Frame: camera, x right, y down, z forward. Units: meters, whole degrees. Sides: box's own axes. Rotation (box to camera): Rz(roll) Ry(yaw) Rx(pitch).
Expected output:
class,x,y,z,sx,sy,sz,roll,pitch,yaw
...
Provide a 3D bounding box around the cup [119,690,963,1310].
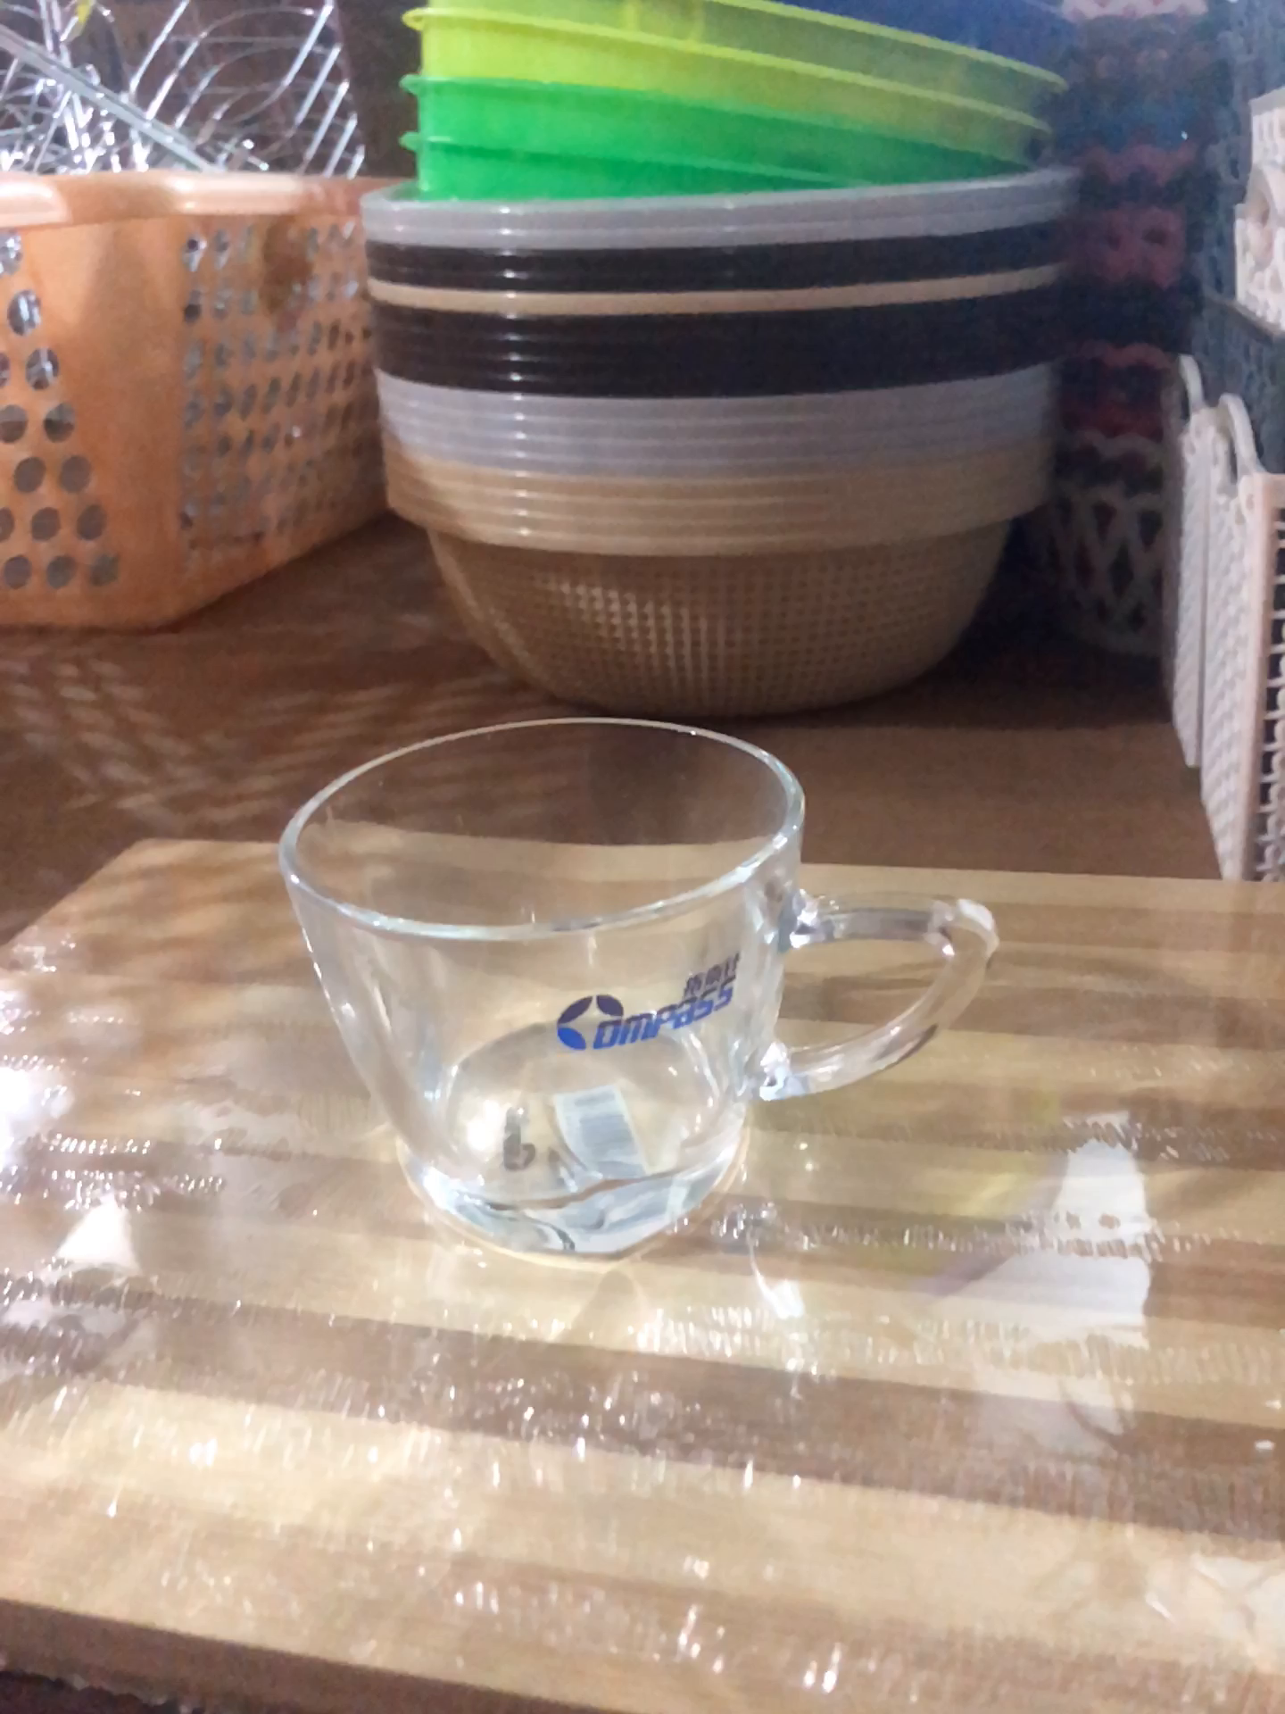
class,x,y,z,sx,sy,sz,roll,pitch,yaw
cup,-0.010,0.016,0.229,0.110,0.060,0.070,5,26,18
